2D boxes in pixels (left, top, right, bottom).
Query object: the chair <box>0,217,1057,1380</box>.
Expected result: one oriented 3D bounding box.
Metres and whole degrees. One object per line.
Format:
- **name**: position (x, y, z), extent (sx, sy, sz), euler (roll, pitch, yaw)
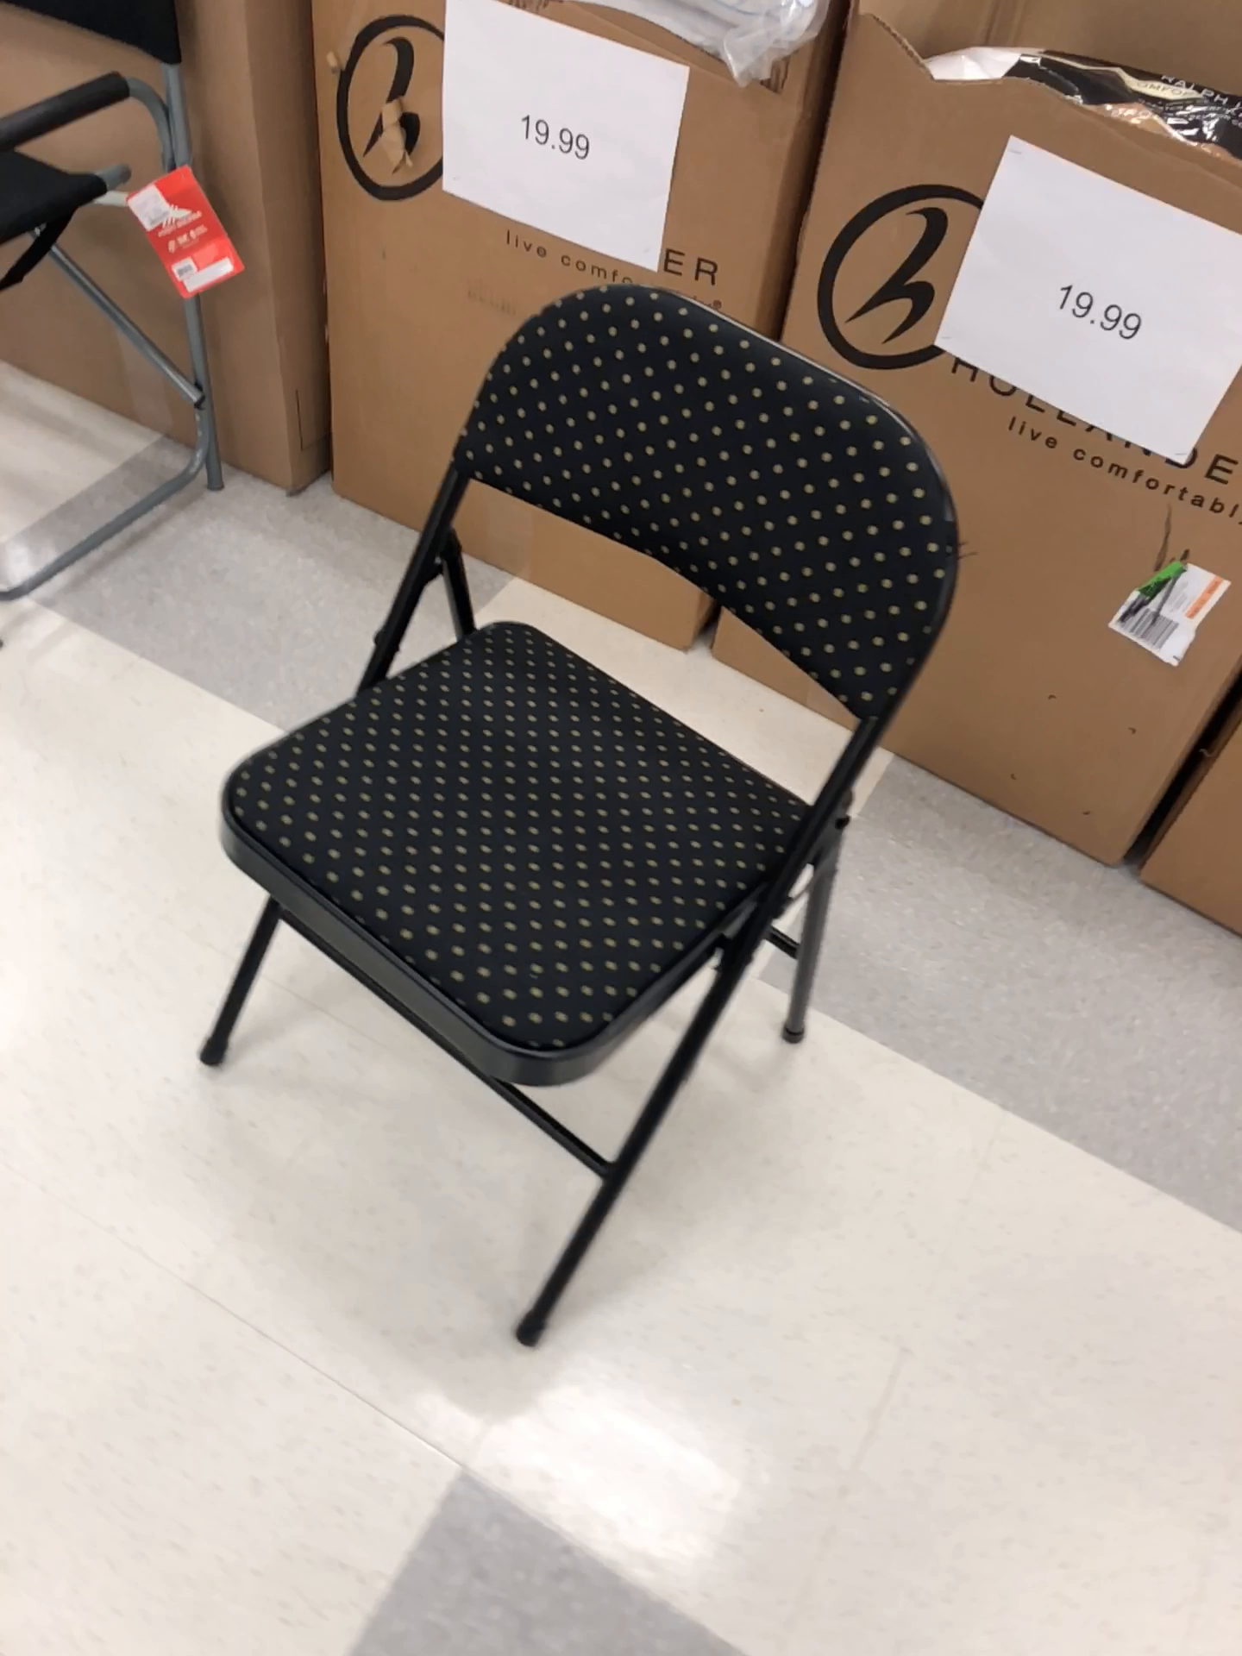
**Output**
- **chair**: position (-0.074, -0.007, 1.196), extent (0.485, 0.730, 0.541), euler (34, 54, 20)
